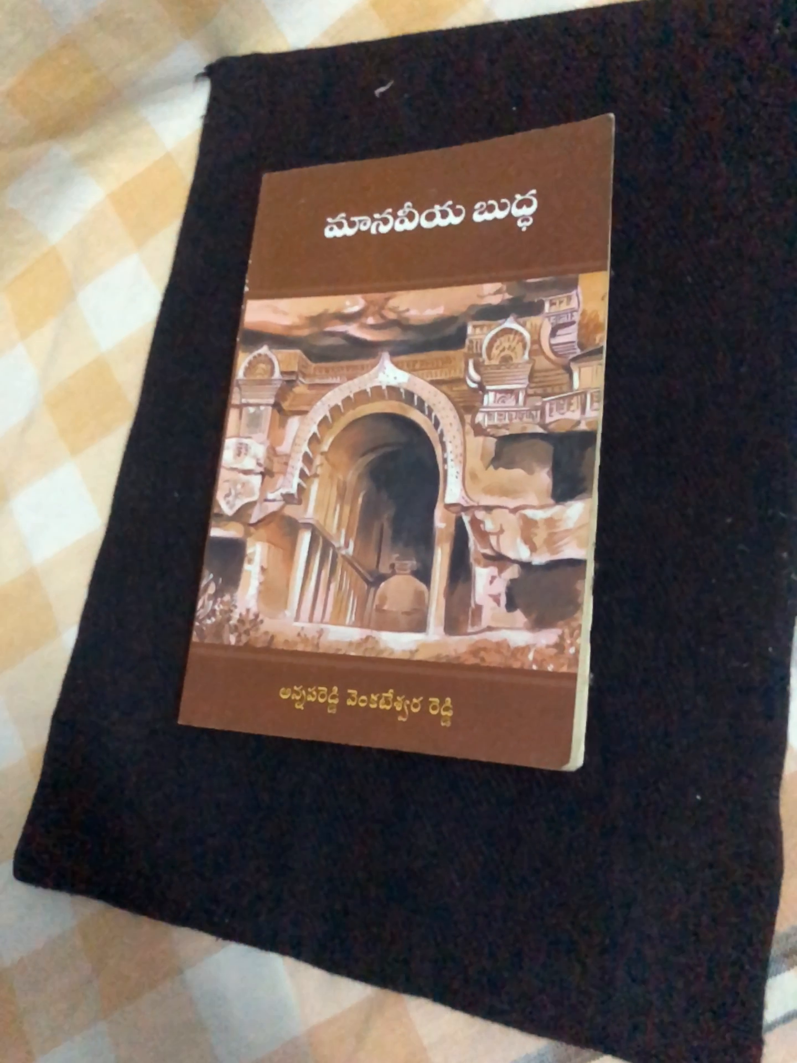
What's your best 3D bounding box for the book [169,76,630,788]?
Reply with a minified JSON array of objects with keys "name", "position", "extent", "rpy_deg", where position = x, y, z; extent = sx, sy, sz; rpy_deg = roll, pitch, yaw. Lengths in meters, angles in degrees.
[{"name":"book","position":[0.002,-0.039,0.308],"extent":[0.140,0.020,0.230],"rpy_deg":[1,76,24]}]
